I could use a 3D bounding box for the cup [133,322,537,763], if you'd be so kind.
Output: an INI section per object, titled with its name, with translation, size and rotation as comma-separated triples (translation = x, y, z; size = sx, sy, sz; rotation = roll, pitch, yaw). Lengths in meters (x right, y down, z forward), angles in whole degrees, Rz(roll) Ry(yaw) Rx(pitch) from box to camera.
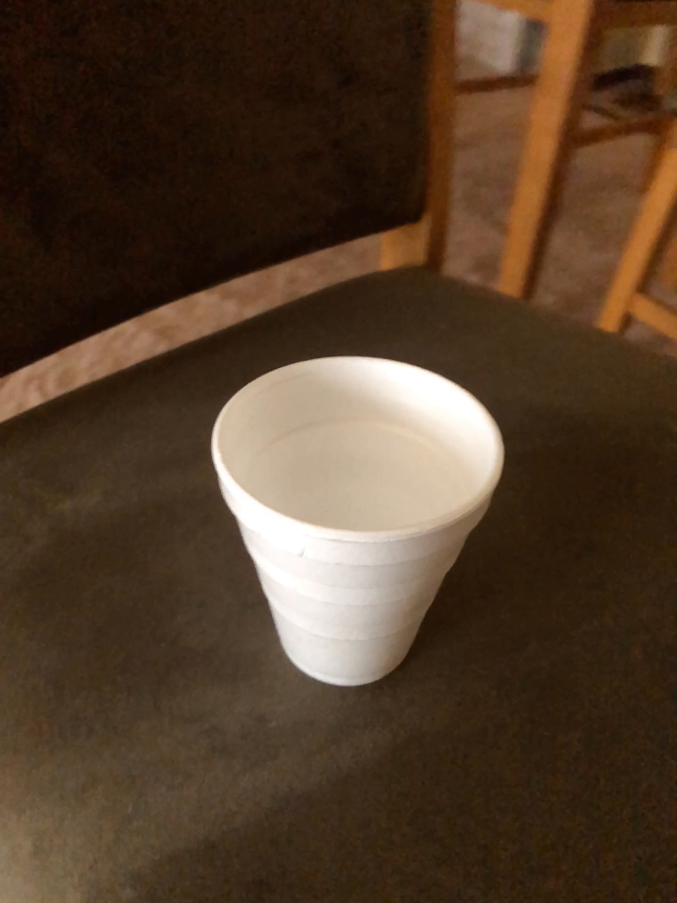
[cup]
translation = 0.002, 0.025, 0.248
size = 0.090, 0.080, 0.090
rotation = 2, 42, -2
